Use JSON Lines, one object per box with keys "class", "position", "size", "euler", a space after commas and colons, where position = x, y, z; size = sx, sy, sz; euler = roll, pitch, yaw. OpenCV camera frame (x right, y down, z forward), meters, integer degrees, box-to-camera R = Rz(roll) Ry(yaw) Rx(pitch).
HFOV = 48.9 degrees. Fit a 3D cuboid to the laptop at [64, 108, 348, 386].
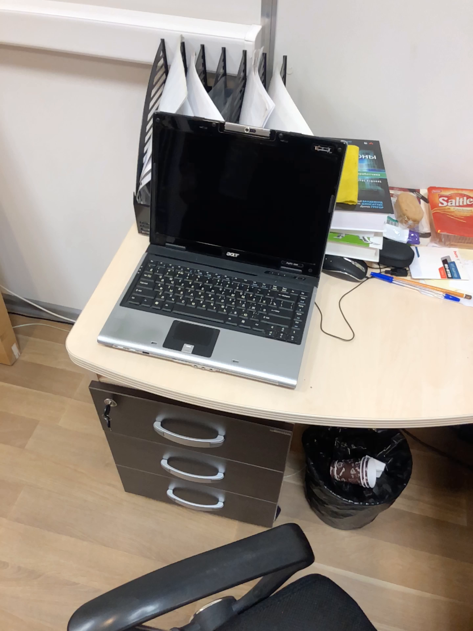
{"class": "laptop", "position": [-0.025, -0.120, 0.826], "size": [0.325, 0.219, 0.325], "euler": [12, 51, 9]}
